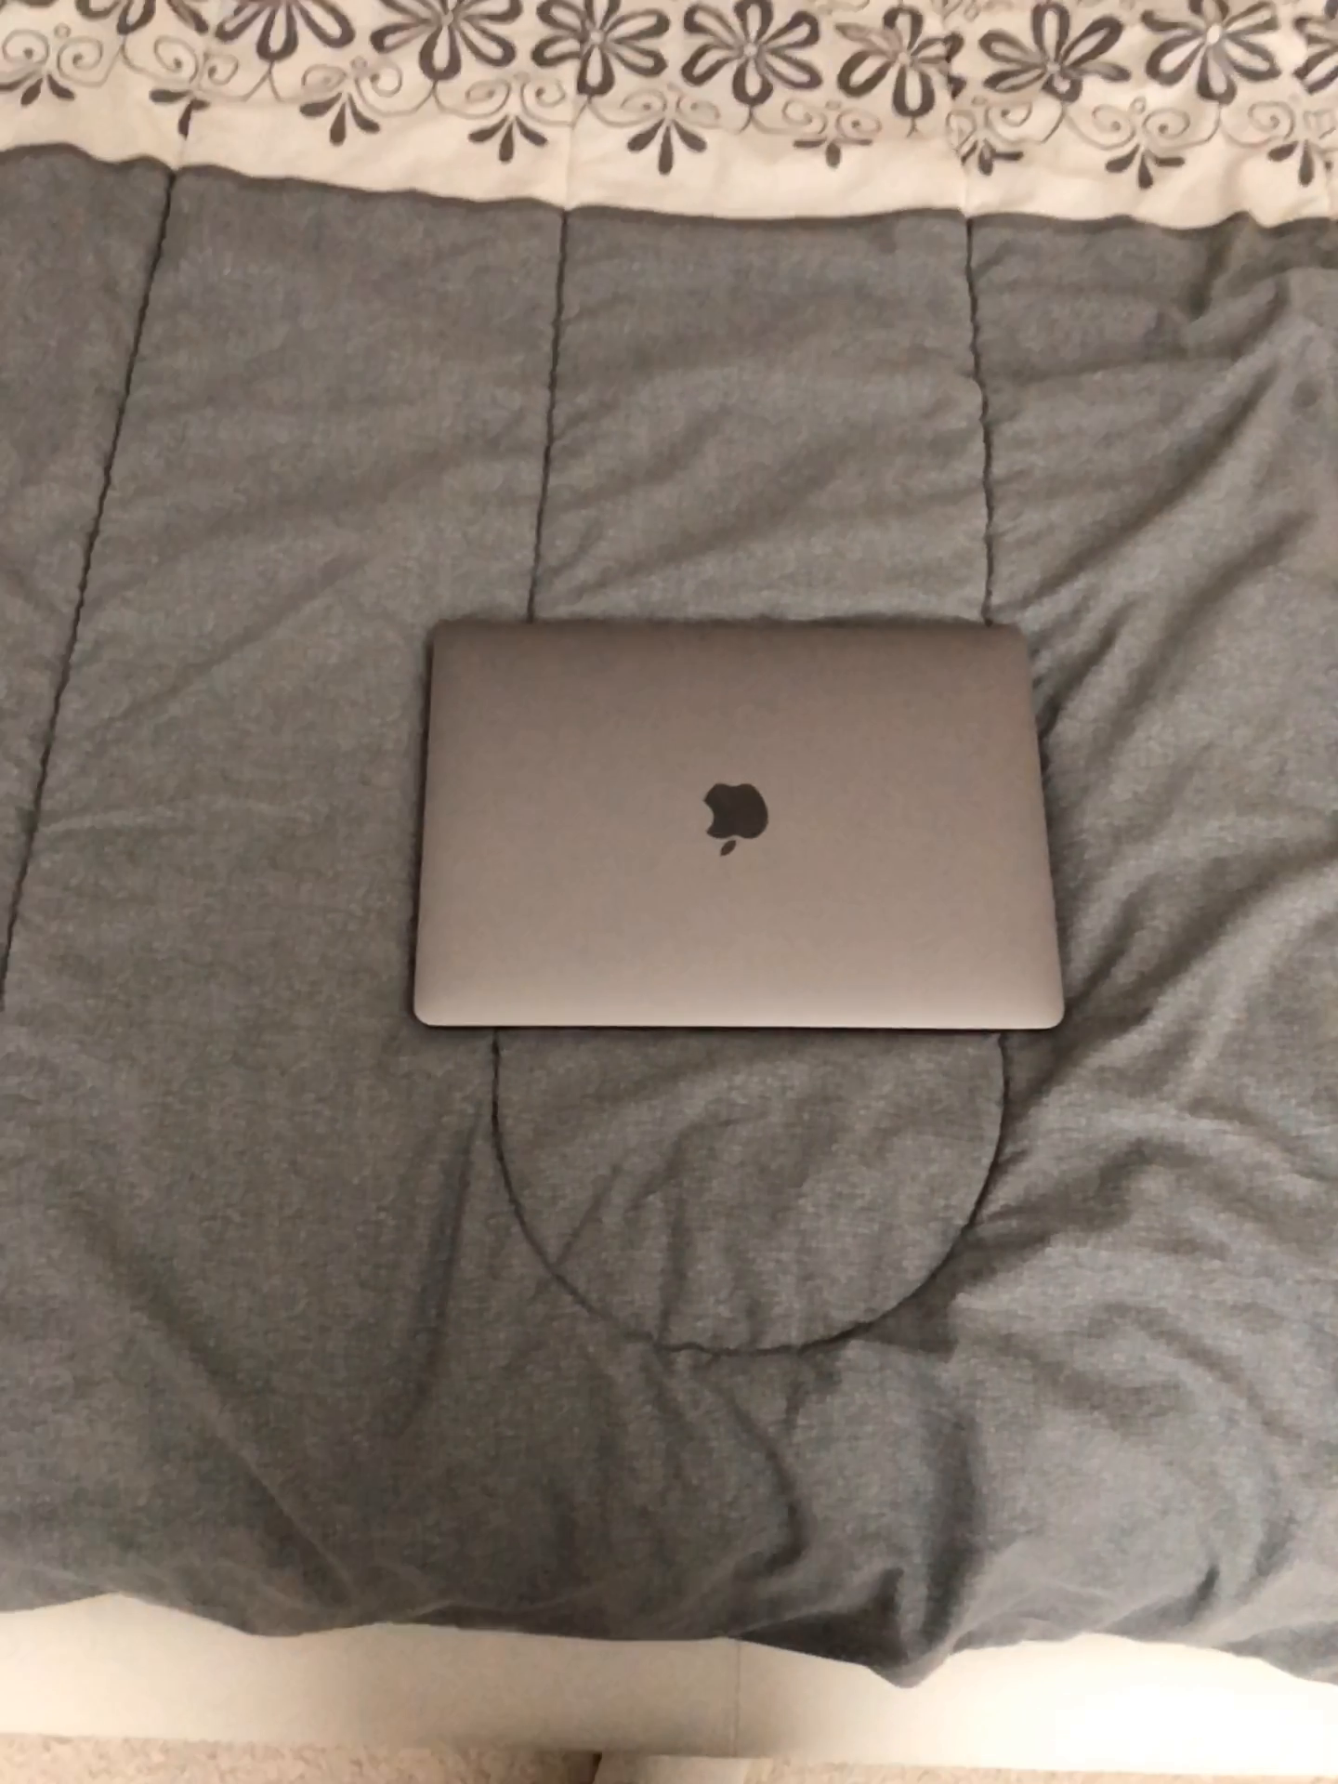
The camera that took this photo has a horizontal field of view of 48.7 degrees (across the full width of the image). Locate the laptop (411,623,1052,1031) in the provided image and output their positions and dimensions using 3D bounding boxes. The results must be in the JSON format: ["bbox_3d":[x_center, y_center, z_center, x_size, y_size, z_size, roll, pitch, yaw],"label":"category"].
[{"bbox_3d":[0.029,-0.035,0.716,0.295,0.008,0.207,0,71,-2],"label":"laptop"}]
